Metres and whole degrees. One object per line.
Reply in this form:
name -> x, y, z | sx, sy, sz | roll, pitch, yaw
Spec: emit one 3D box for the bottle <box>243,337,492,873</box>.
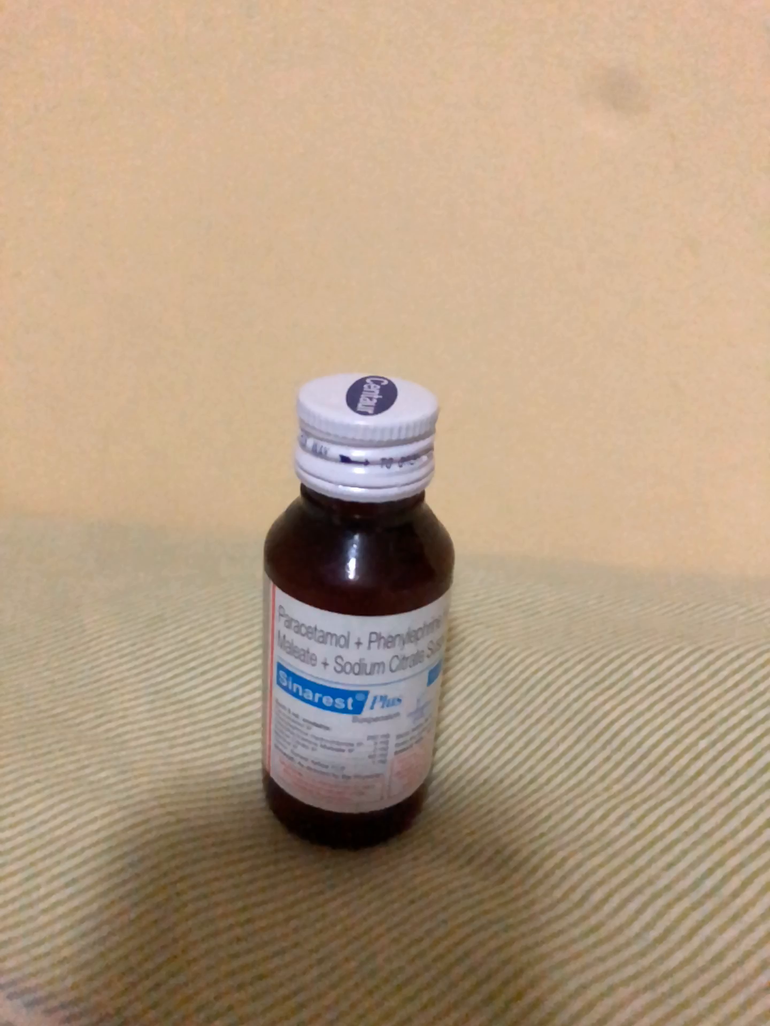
bottle -> -0.005, 0.020, 0.179 | 0.040, 0.100, 0.040 | 4, 26, -2
